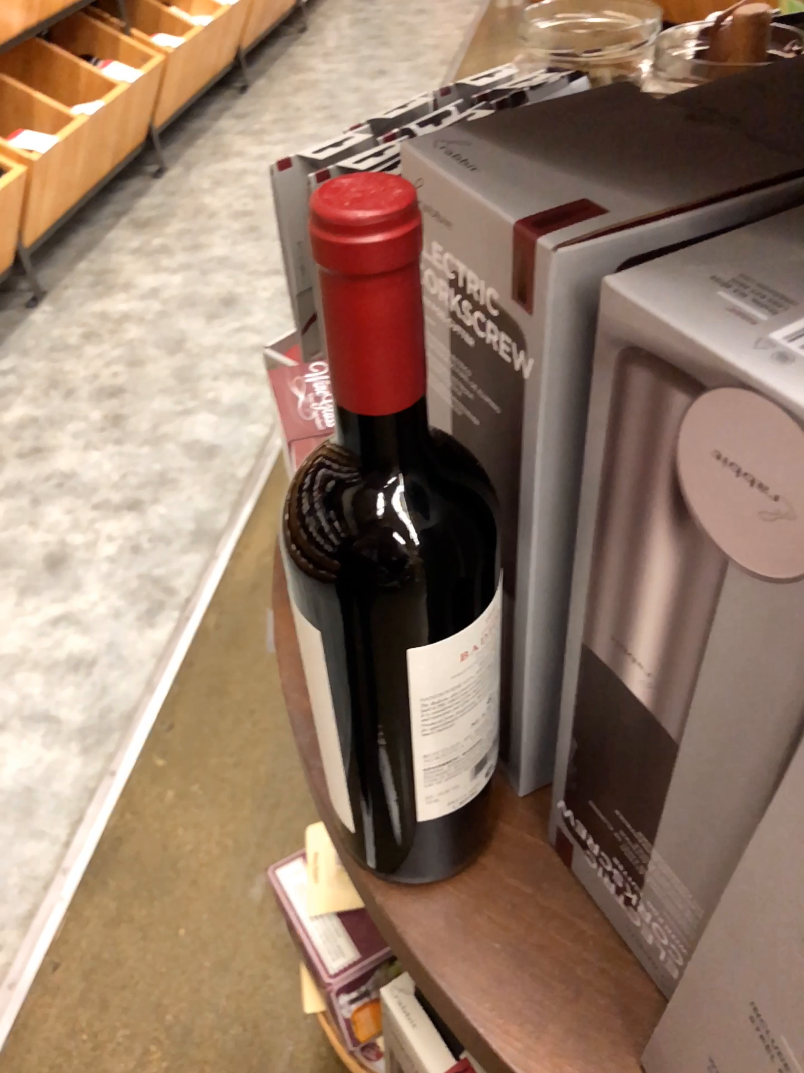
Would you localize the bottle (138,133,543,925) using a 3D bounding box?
[{"bbox_3d":[-0.002,0.022,0.314,0.073,0.285,0.076,-3,42,3],"label":"bottle"}]
